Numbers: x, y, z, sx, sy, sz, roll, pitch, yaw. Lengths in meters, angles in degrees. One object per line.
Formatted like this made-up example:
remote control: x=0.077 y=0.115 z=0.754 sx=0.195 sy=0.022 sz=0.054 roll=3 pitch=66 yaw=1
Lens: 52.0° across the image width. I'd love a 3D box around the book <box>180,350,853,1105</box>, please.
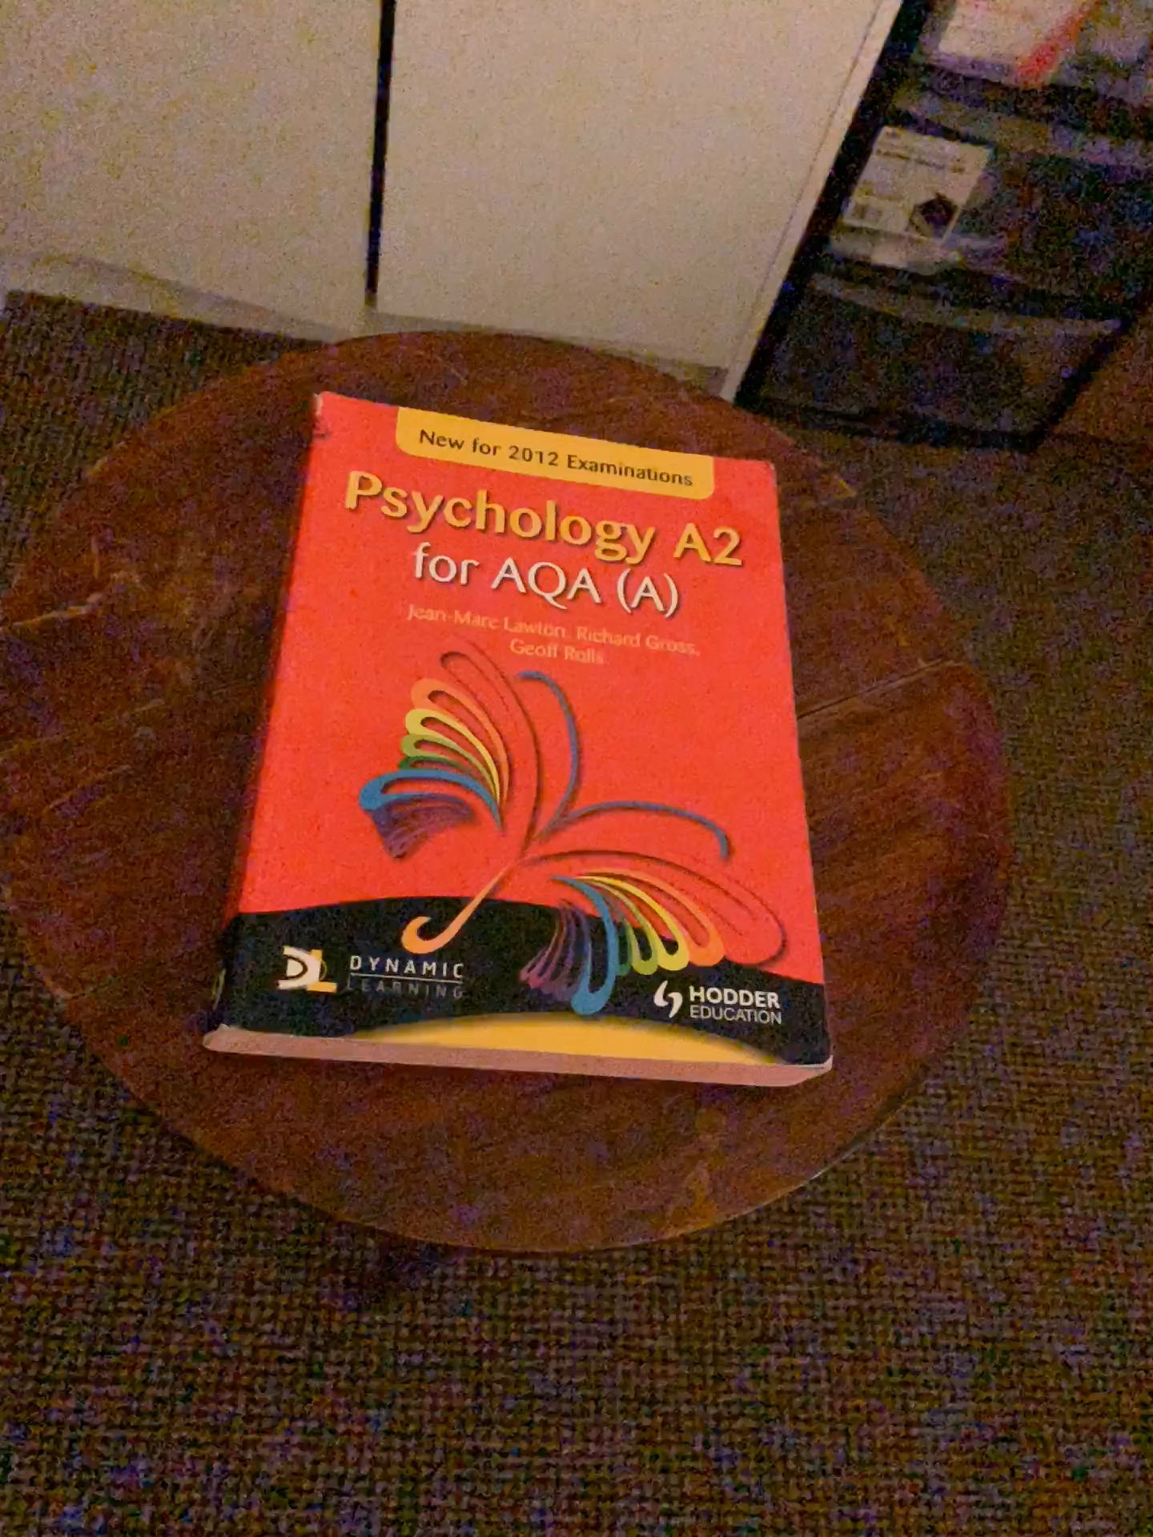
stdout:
book: x=-0.016 y=-0.028 z=0.456 sx=0.210 sy=0.040 sz=0.292 roll=6 pitch=59 yaw=-9
